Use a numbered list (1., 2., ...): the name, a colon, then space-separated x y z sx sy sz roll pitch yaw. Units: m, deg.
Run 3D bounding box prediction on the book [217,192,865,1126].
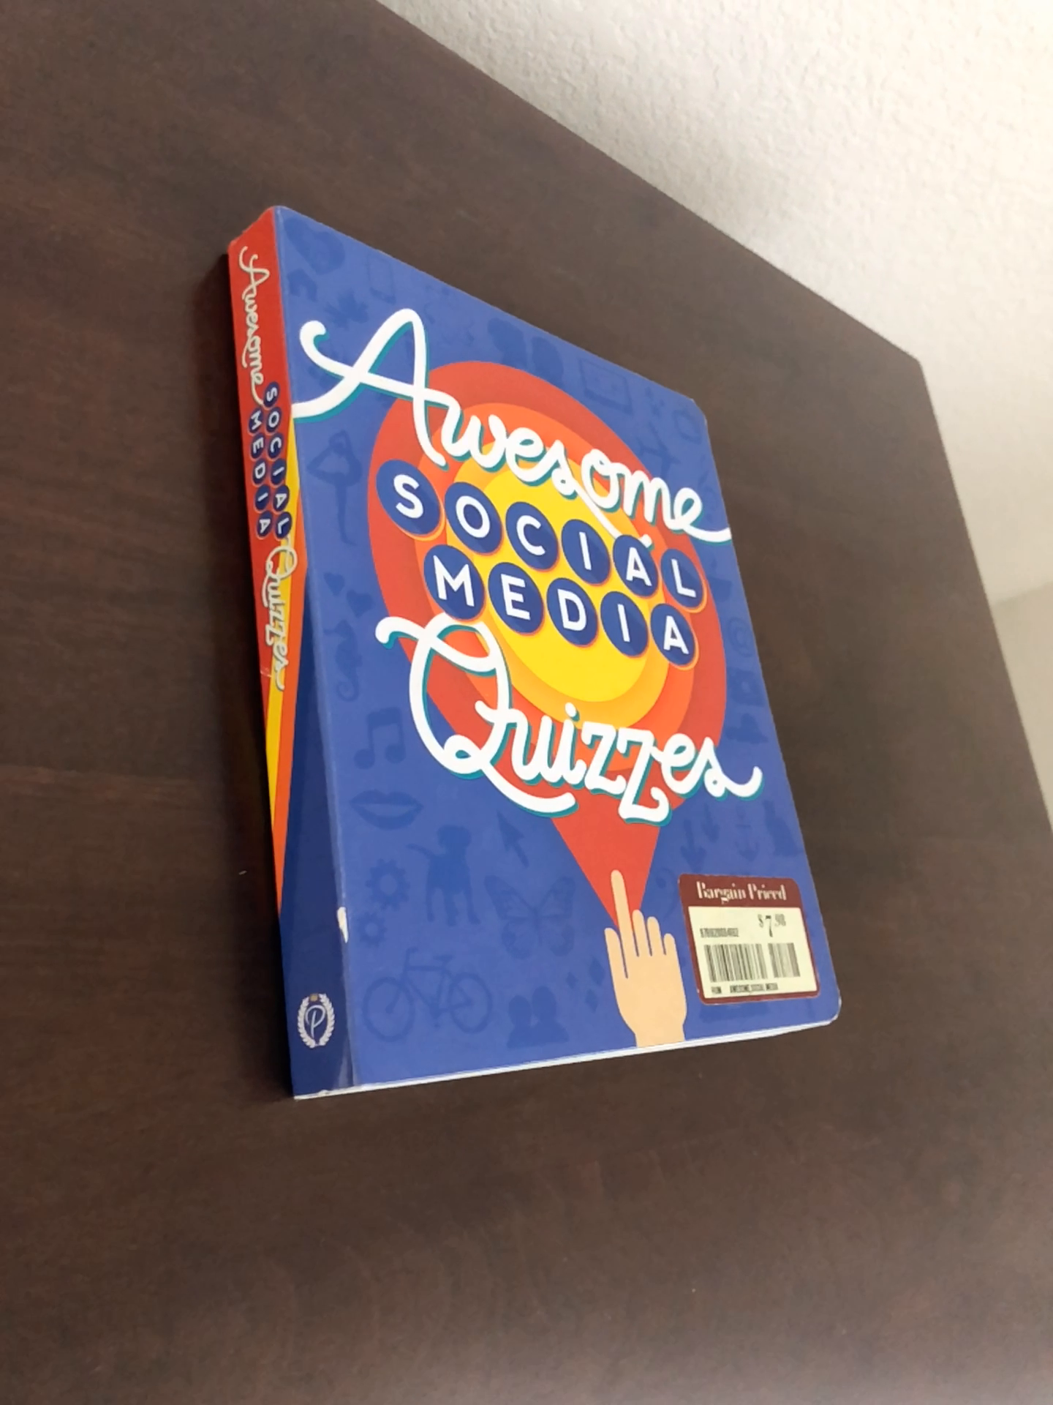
1. book: 0.010 -0.009 0.301 0.173 0.020 0.200 9 64 -44
